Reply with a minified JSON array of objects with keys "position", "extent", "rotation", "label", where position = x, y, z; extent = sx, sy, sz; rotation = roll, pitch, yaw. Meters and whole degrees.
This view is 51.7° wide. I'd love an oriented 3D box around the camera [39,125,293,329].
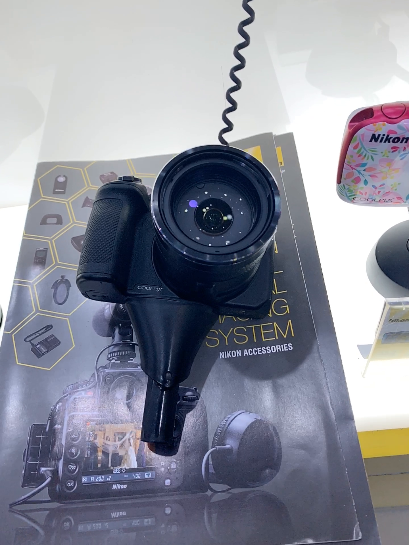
[{"position":[-0.013,-0.024,0.253],"extent":[0.120,0.080,0.090],"rotation":[4,73,10],"label":"camera"}]
